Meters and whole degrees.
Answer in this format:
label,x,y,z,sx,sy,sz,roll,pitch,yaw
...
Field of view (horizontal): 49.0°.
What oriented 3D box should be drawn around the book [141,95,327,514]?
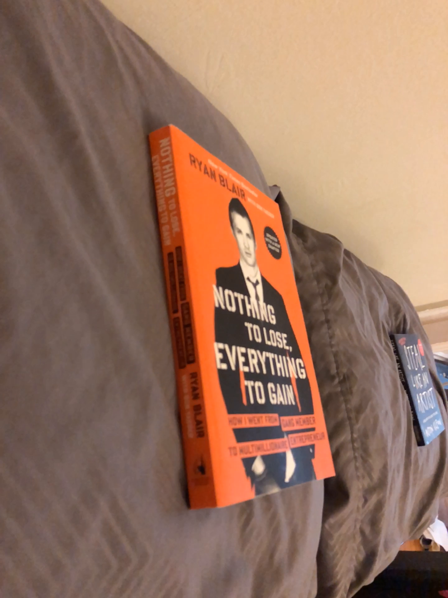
label,x,y,z,sx,sy,sz,roll,pitch,yaw
book,0.011,0.005,0.325,0.151,0.020,0.230,22,55,-58
